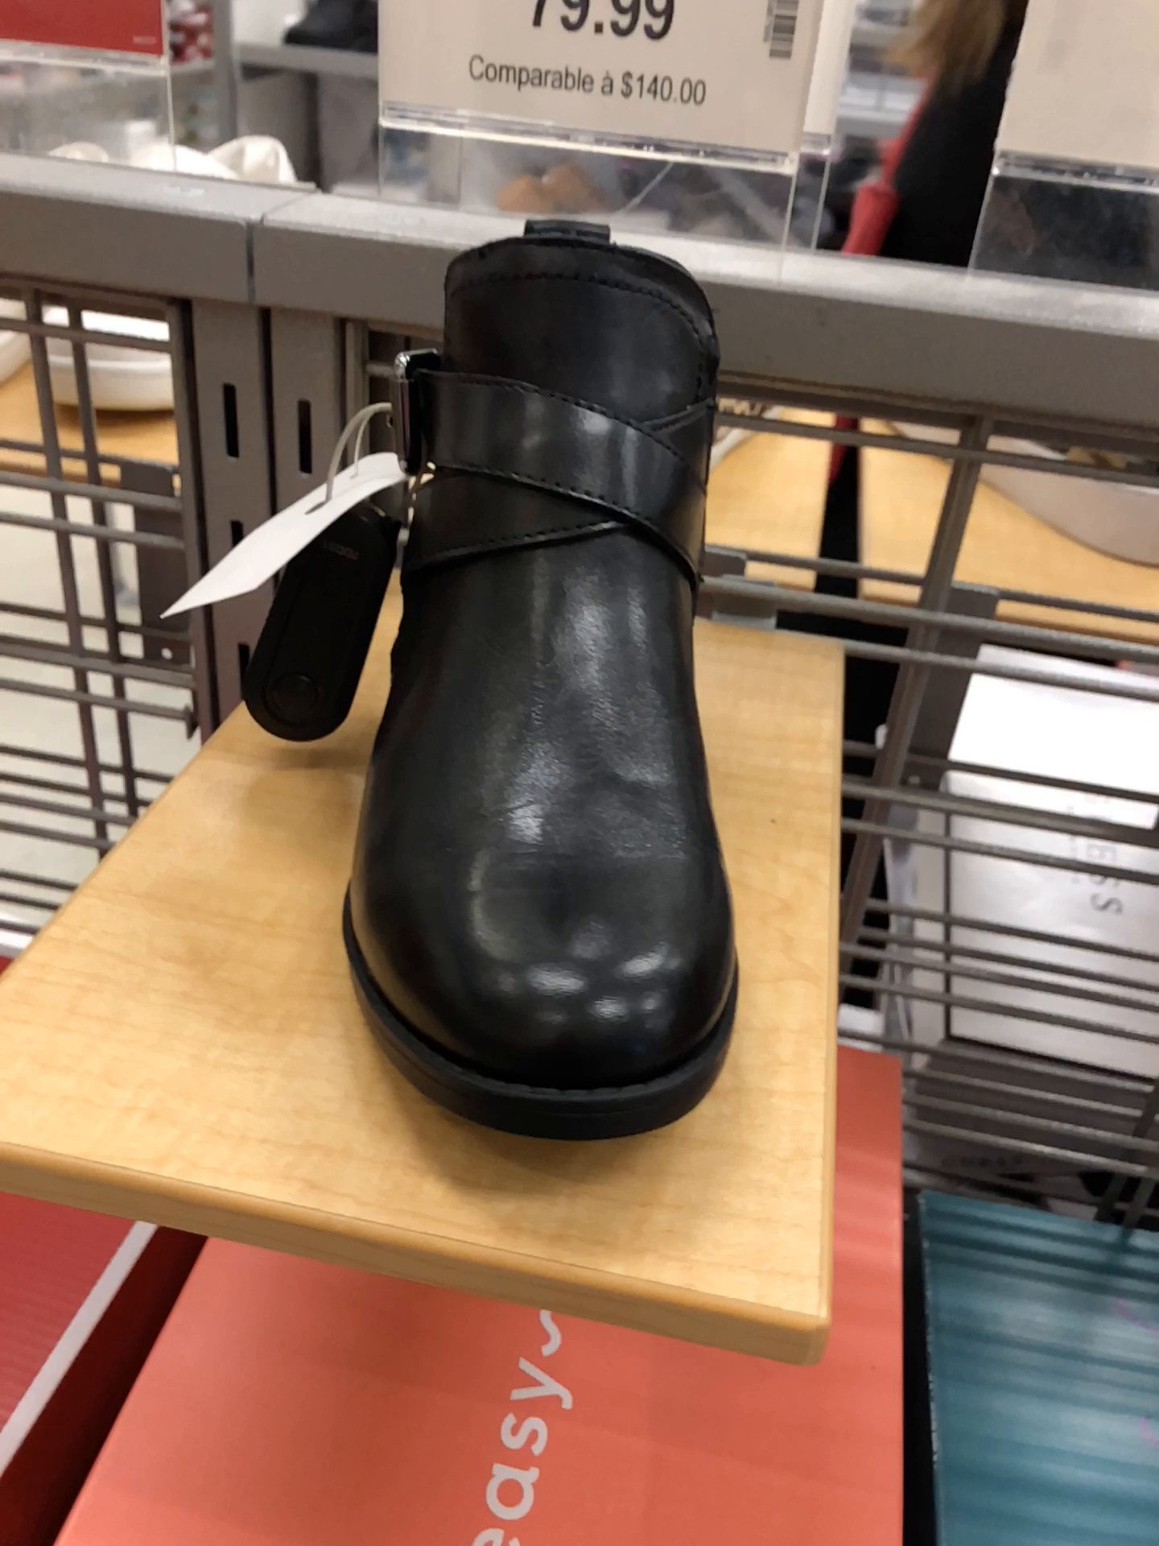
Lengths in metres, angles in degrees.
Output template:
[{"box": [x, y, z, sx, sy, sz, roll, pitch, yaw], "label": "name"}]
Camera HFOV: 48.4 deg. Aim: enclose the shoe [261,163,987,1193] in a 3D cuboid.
[{"box": [-0.008, -0.042, 0.286, 0.090, 0.133, 0.222, 2, 33, -7], "label": "shoe"}]
